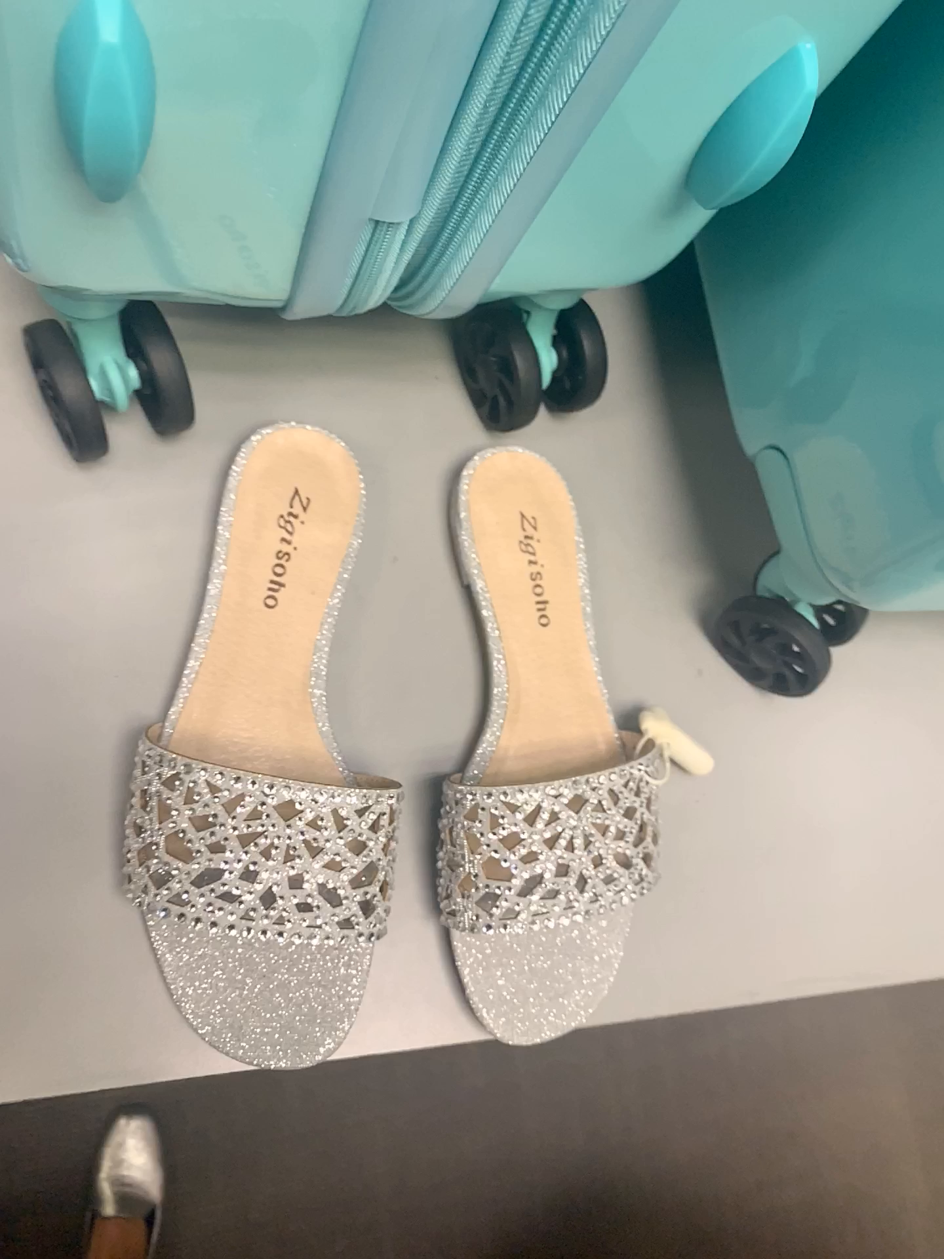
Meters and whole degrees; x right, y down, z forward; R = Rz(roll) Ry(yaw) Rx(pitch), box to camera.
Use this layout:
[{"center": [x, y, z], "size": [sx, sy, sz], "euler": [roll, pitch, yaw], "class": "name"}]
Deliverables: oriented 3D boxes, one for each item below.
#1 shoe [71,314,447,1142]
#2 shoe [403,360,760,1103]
[{"center": [-0.066, 0.027, 0.326], "size": [0.100, 0.061, 0.243], "euler": [5, 74, -18], "class": "shoe"}, {"center": [0.033, 0.031, 0.358], "size": [0.099, 0.061, 0.242], "euler": [2, 75, -18], "class": "shoe"}]
